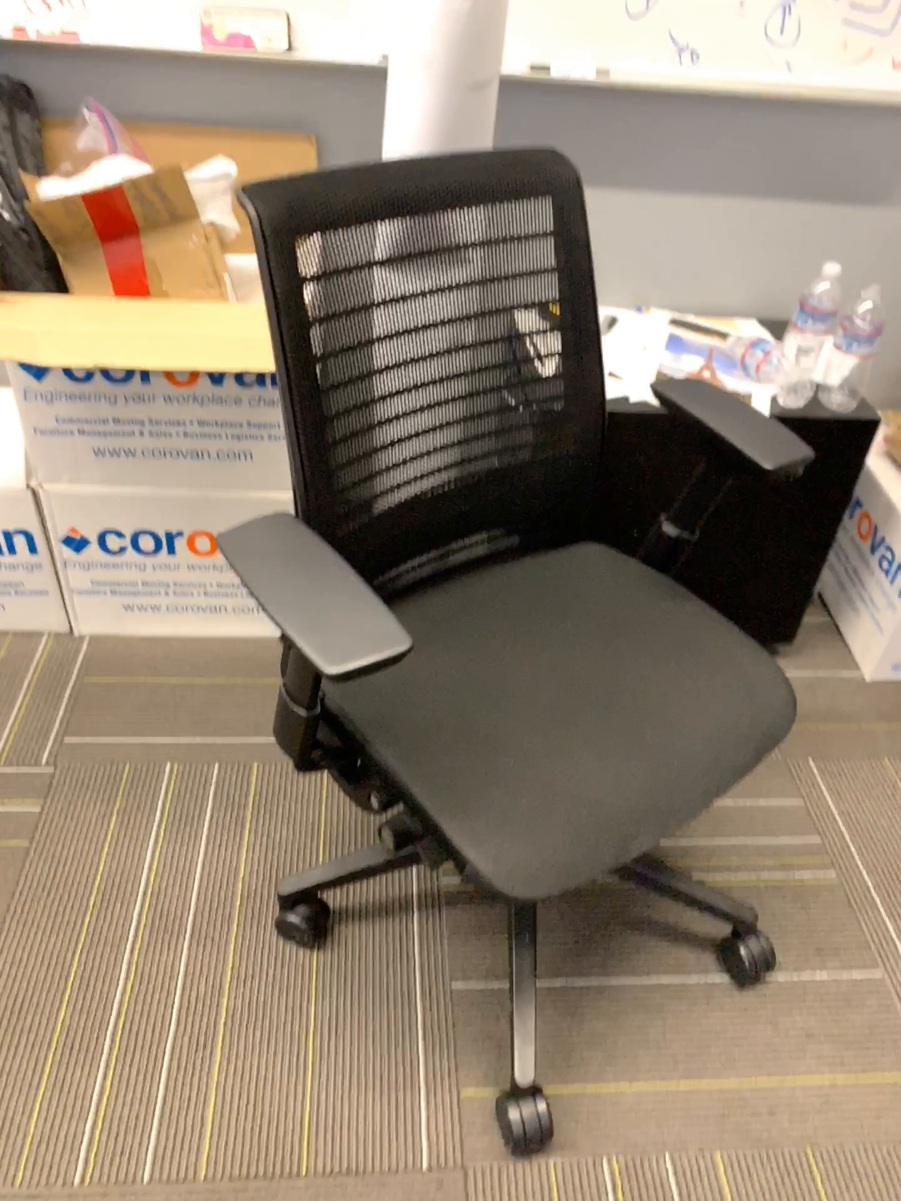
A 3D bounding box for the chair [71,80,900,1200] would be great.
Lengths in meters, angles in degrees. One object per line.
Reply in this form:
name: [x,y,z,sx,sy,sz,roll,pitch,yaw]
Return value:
chair: [0.123,0.017,1.045,0.662,0.915,0.682,-26,48,-33]
